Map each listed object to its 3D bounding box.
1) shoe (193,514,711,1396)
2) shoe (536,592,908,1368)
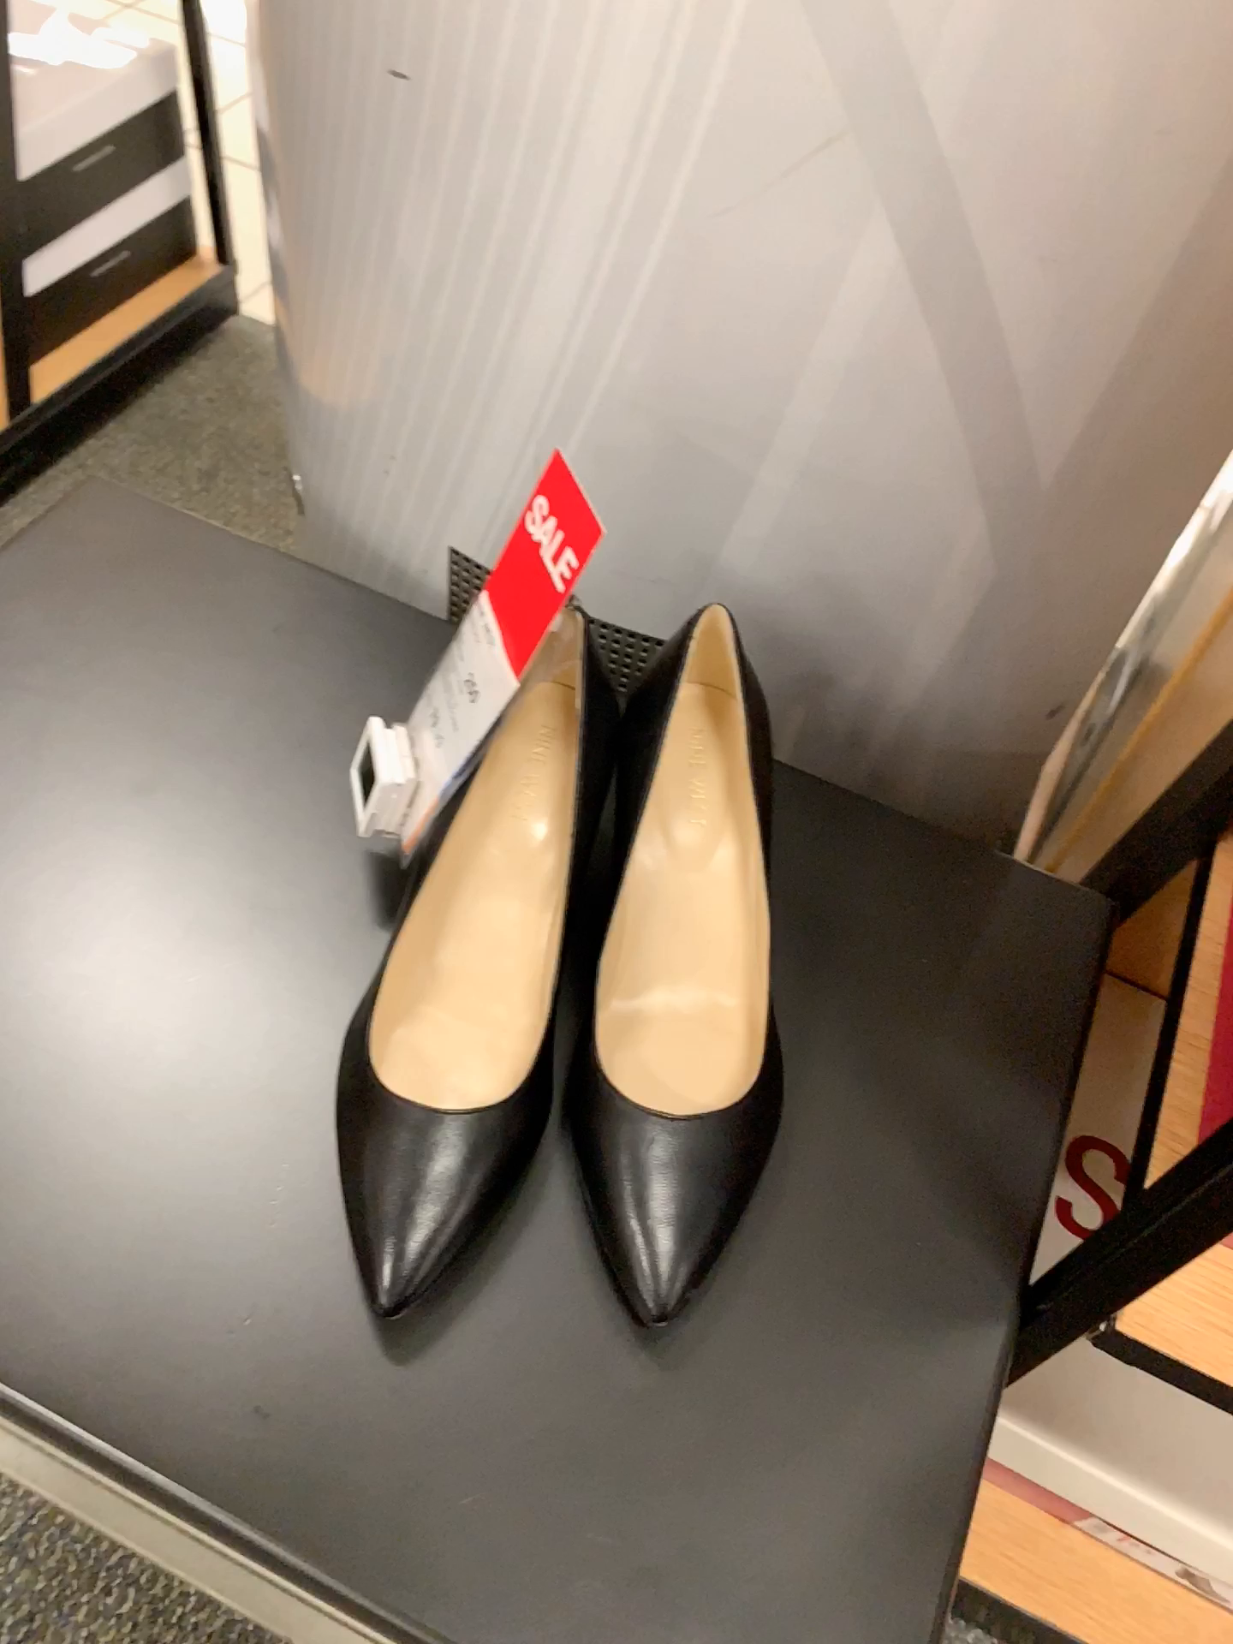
[{"bbox_3d":[-0.047,0.049,0.472,0.100,0.189,0.251,12,52,1],"label":"shoe"},{"bbox_3d":[0.037,0.066,0.530,0.100,0.189,0.251,8,52,-2],"label":"shoe"}]
